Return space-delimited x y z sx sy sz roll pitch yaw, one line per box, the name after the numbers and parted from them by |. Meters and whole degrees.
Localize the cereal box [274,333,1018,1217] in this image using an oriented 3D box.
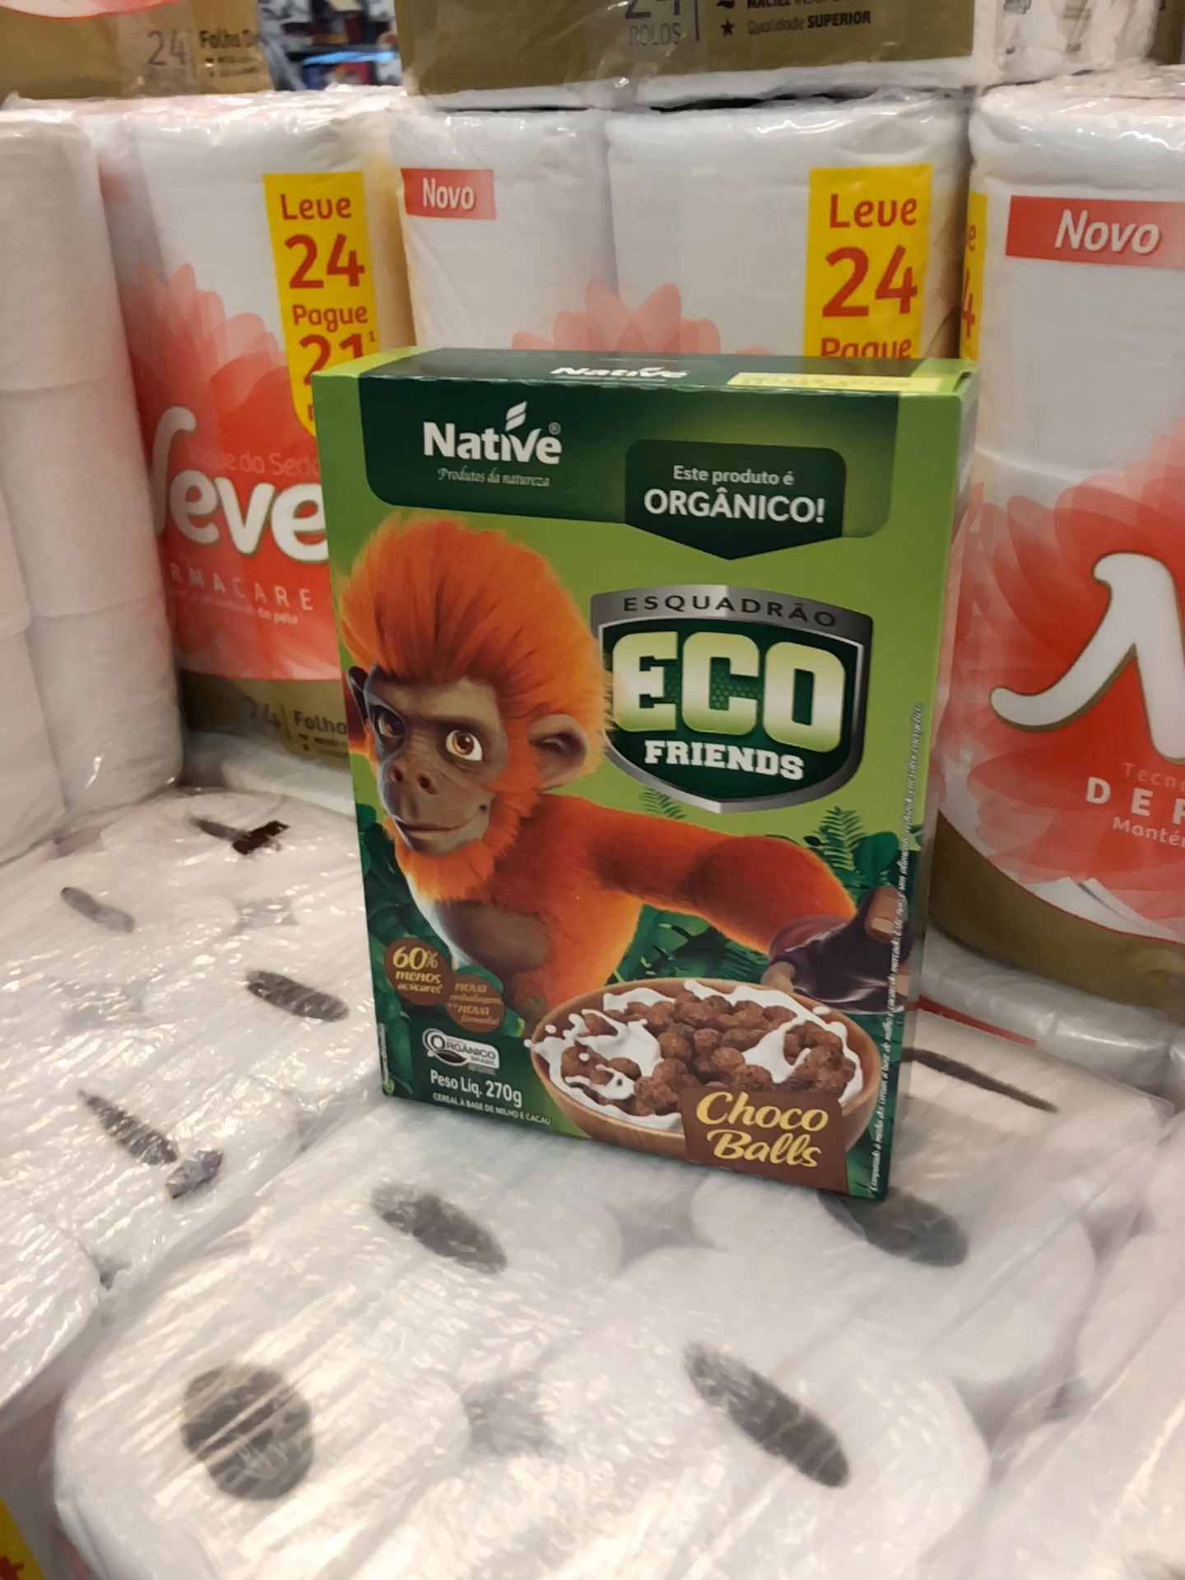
0.014 -0.007 0.381 0.180 0.228 0.060 8 26 19 | cereal box
